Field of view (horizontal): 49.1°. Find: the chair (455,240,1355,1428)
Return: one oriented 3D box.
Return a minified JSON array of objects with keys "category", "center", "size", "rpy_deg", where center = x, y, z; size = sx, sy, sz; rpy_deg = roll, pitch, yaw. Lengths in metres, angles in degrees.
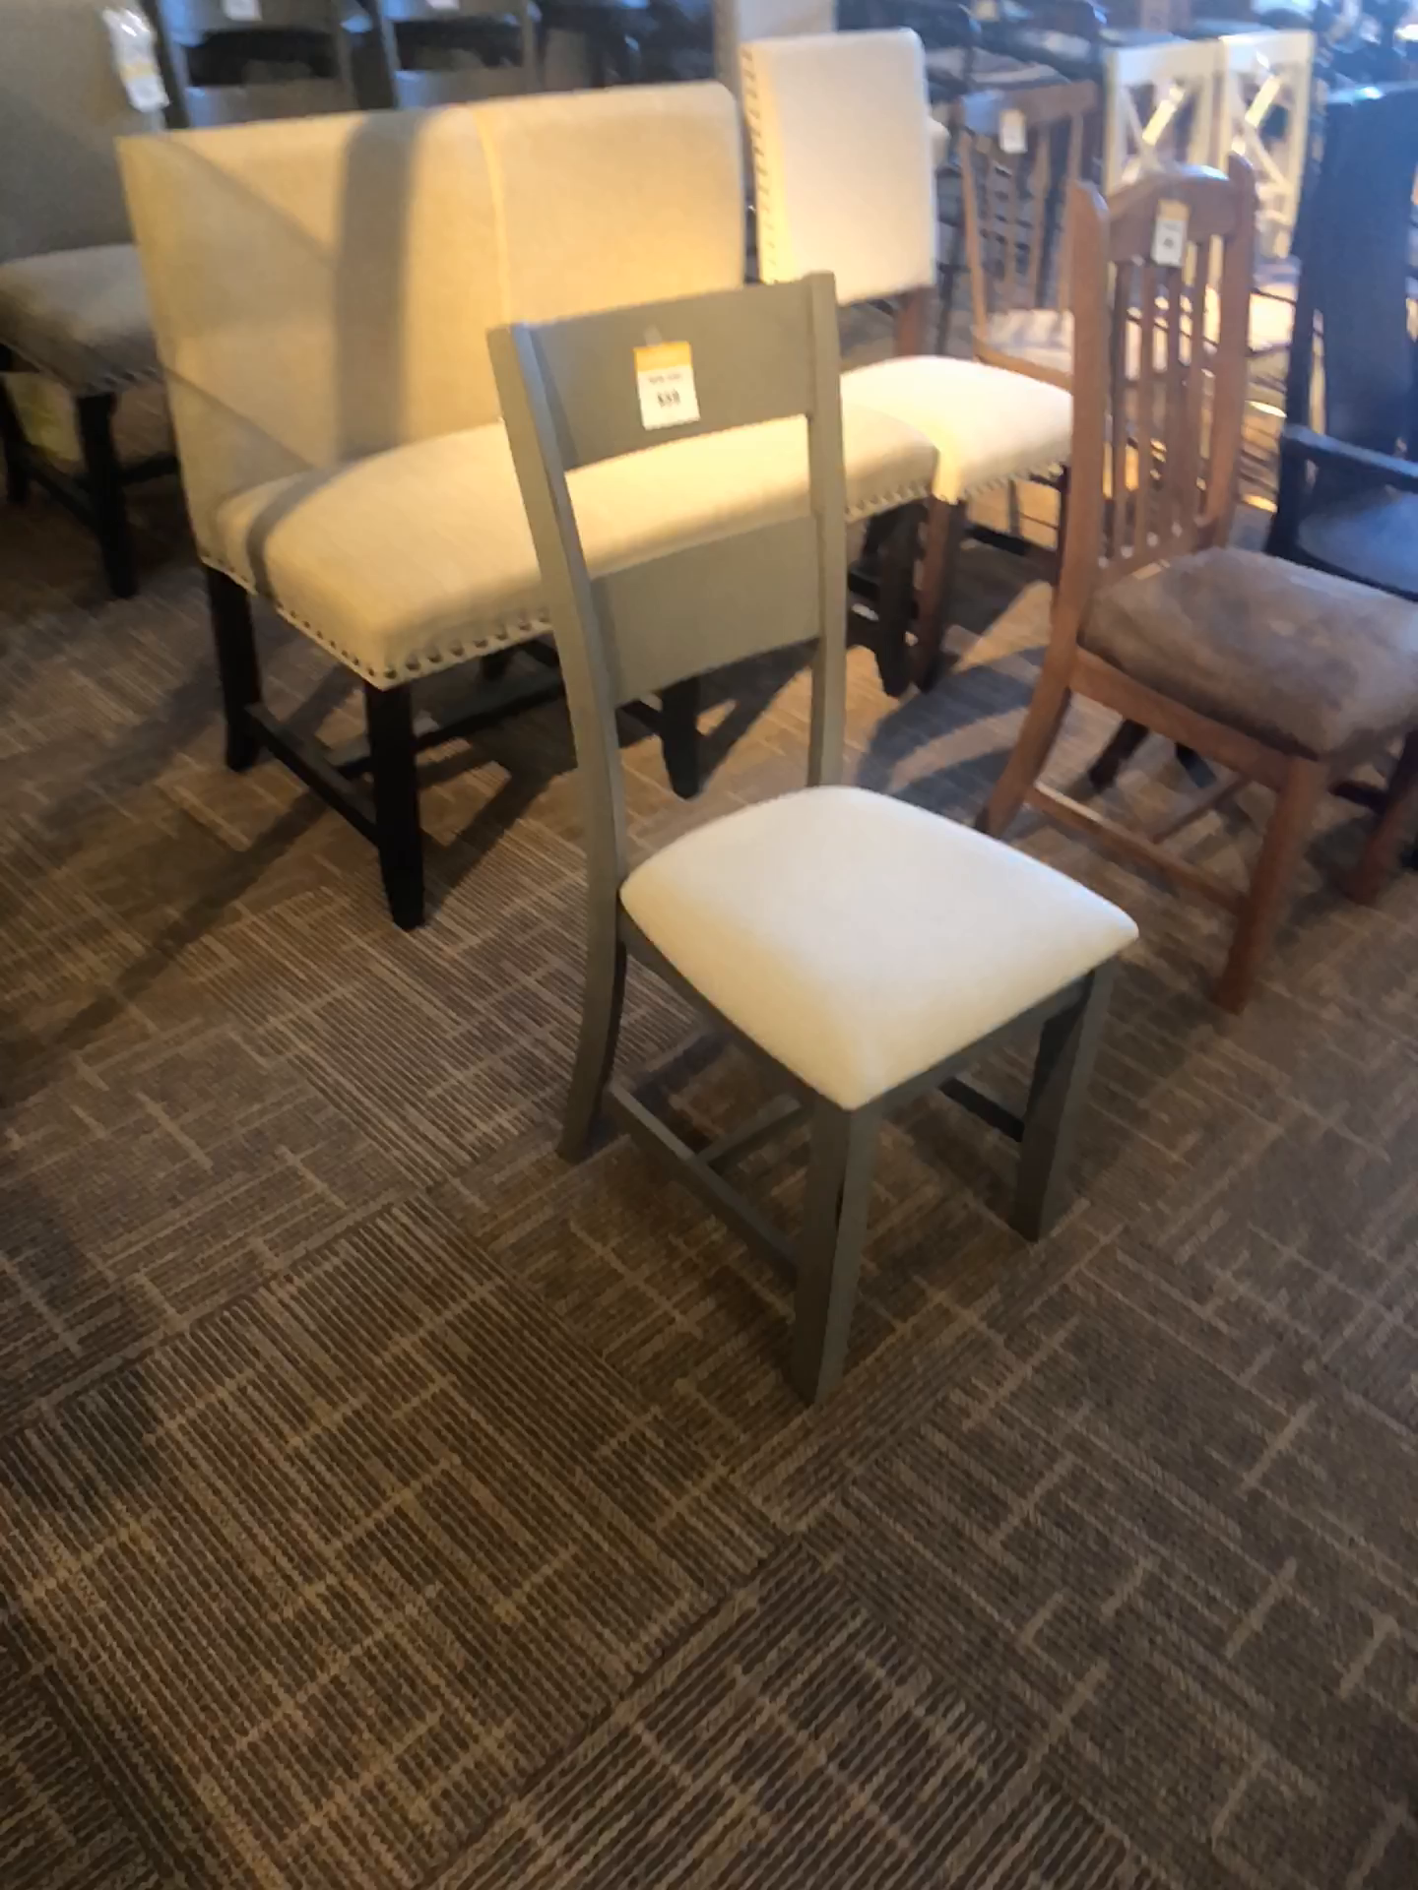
[{"category":"chair","center":[0.114,-0.122,1.624],"size":[0.462,0.965,0.631],"rpy_deg":[-25,47,-34]}]
